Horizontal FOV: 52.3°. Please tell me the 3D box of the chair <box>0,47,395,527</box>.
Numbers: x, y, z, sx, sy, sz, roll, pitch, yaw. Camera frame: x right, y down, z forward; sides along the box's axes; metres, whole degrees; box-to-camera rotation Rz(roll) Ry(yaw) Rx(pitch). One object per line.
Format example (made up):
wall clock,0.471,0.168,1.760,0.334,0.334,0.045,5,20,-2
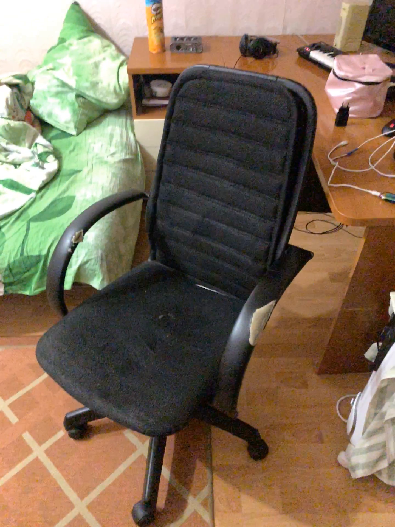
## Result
chair,-0.075,0.125,1.039,0.672,0.992,0.724,22,47,22
